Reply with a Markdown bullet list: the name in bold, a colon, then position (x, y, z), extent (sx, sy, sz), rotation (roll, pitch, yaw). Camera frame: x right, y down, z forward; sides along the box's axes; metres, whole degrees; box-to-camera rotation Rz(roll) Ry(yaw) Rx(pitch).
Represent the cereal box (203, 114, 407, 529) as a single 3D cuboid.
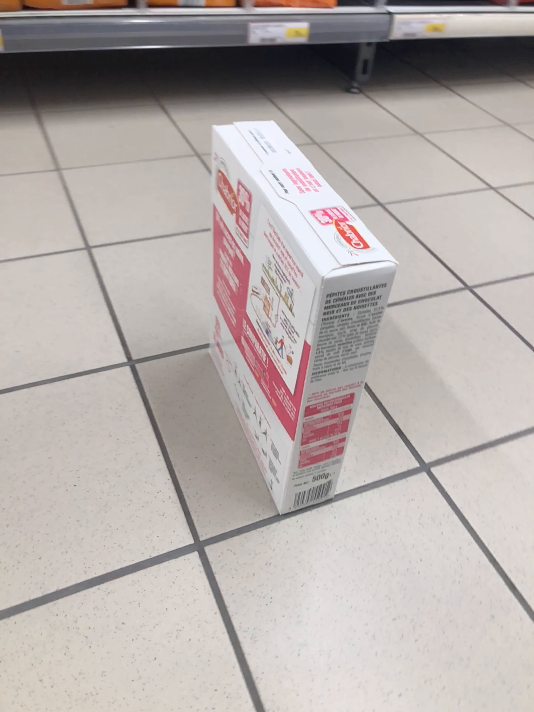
- **cereal box**: position (0.005, -0.024, 0.449), extent (0.050, 0.239, 0.201), rotation (-11, 46, -18)
